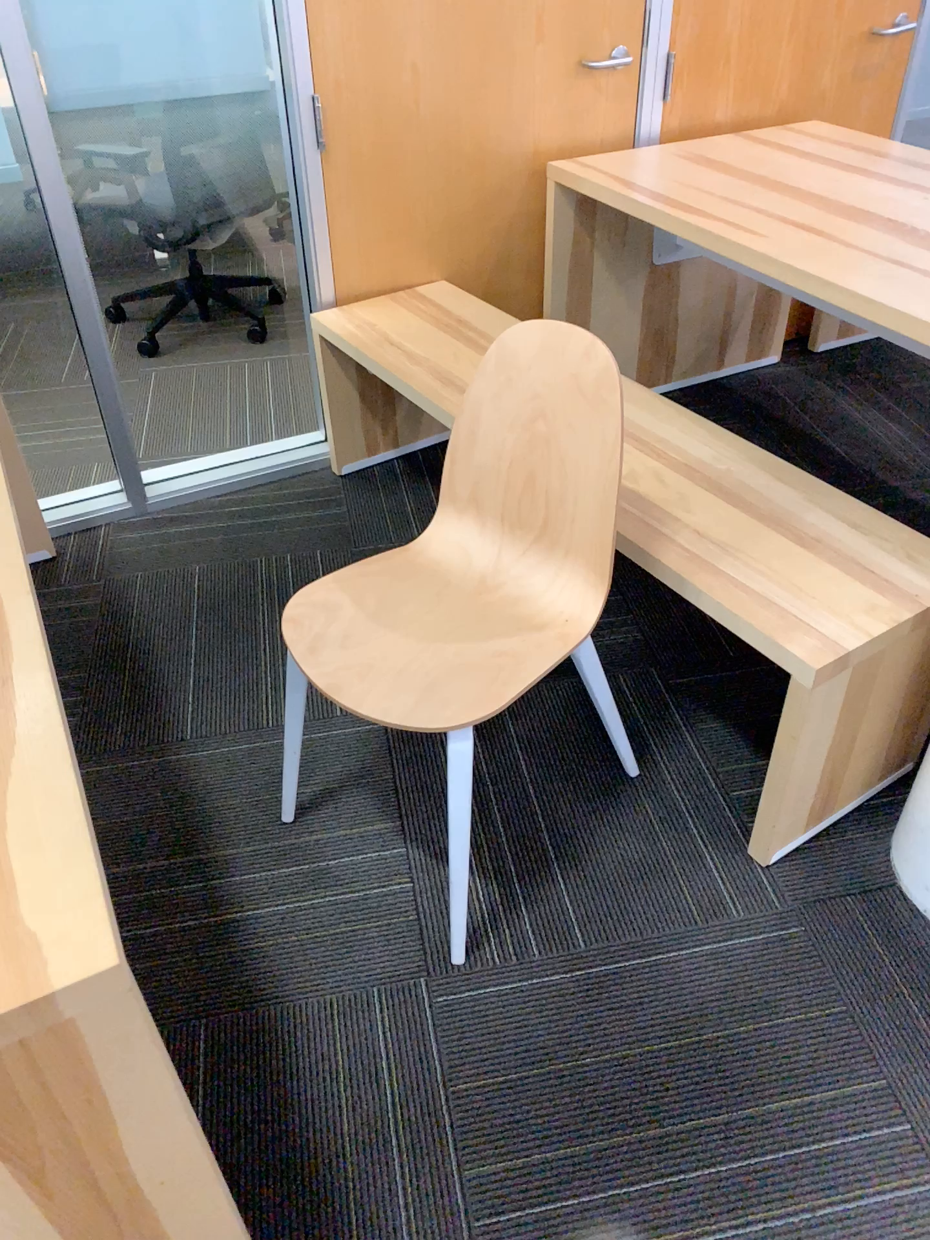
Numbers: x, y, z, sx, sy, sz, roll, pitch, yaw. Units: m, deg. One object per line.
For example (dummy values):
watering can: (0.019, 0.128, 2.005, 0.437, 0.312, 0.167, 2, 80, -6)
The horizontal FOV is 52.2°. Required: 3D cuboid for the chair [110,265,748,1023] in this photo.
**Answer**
chair: (-0.027, 0.015, 1.457, 0.542, 0.835, 0.601, 29, 48, 33)
